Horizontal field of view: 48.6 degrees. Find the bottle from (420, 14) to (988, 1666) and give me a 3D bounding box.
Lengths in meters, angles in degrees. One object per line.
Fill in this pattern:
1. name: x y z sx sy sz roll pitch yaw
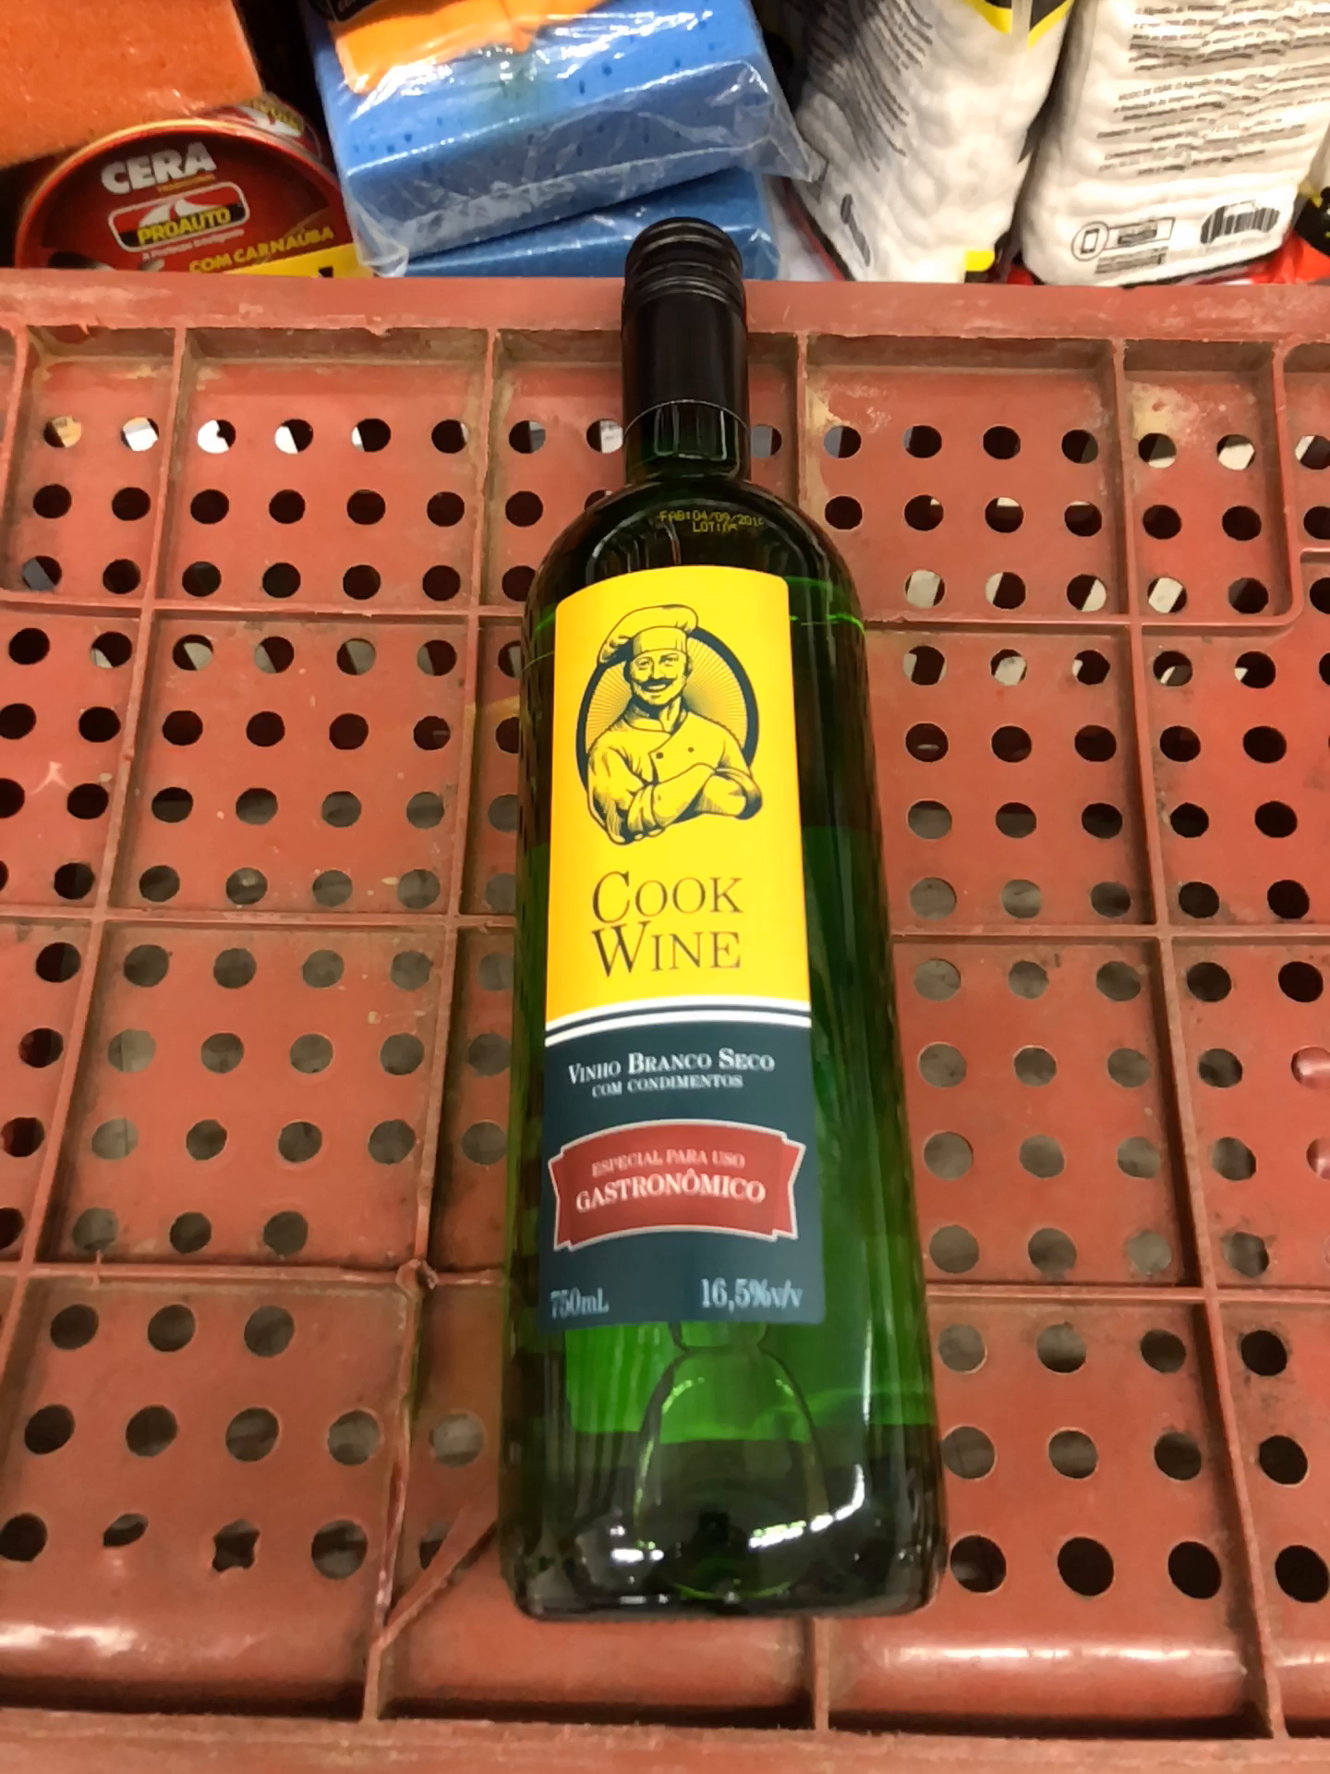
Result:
1. bottle: 0.007 -0.029 0.294 0.080 0.060 0.321 -5 67 10
